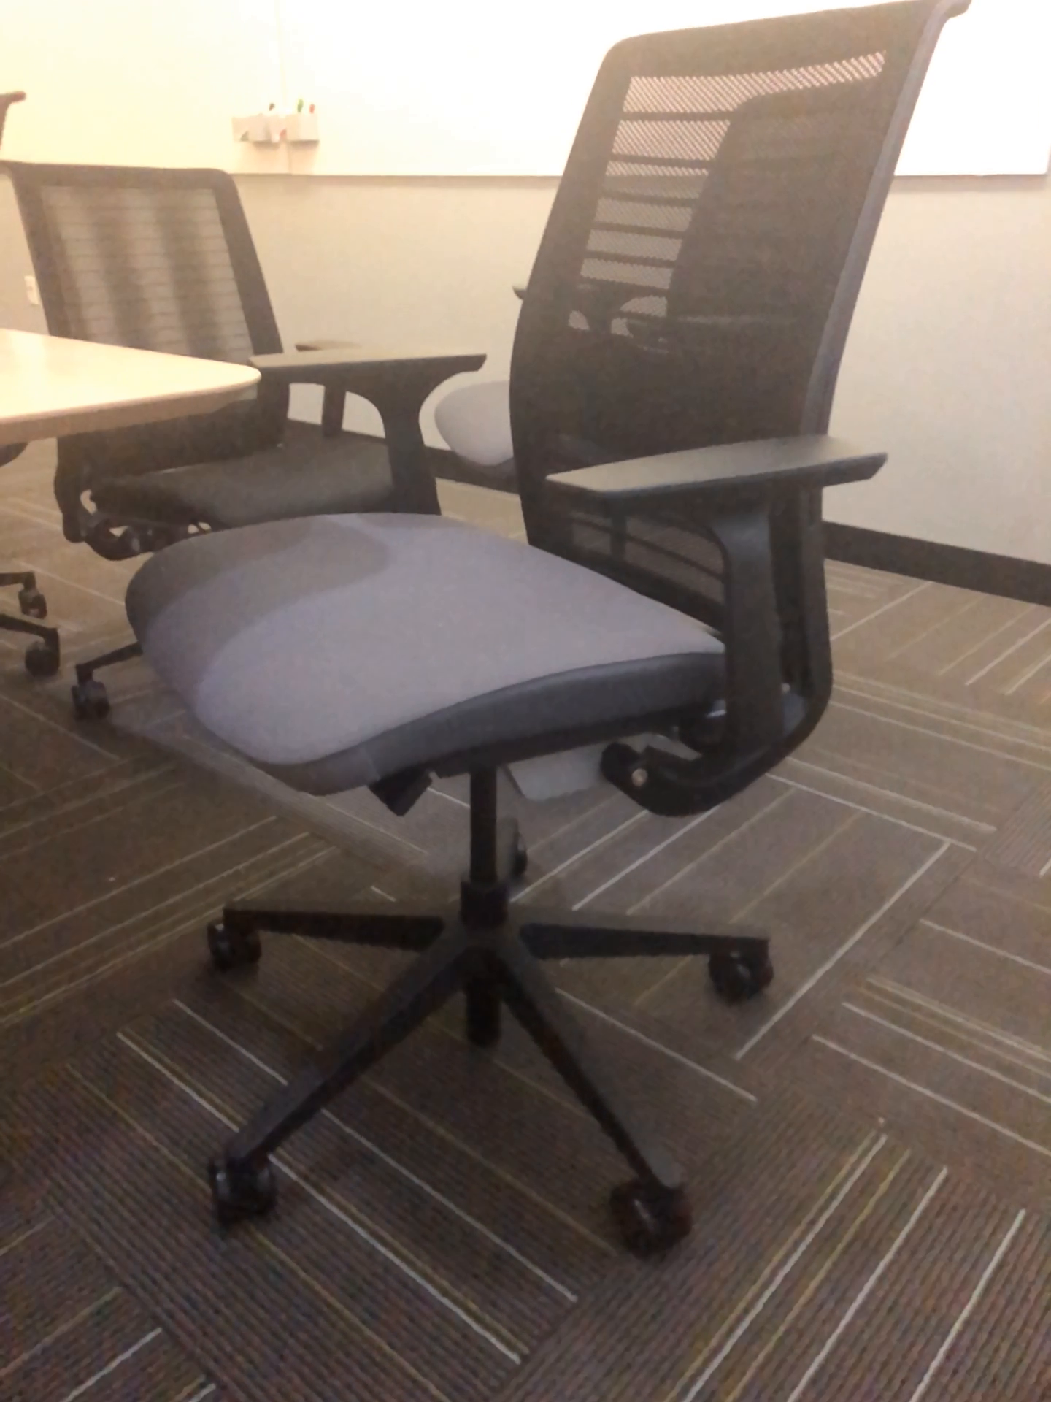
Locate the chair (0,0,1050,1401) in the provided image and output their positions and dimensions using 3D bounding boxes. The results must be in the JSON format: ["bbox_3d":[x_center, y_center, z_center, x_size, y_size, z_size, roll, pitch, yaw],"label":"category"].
[{"bbox_3d":[-0.041,-0.127,1.043,0.723,0.963,0.732,-12,25,-28],"label":"chair"}]

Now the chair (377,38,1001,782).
[{"bbox_3d":[0.193,-0.502,1.946,0.712,0.963,0.724,-7,23,-17],"label":"chair"}]
